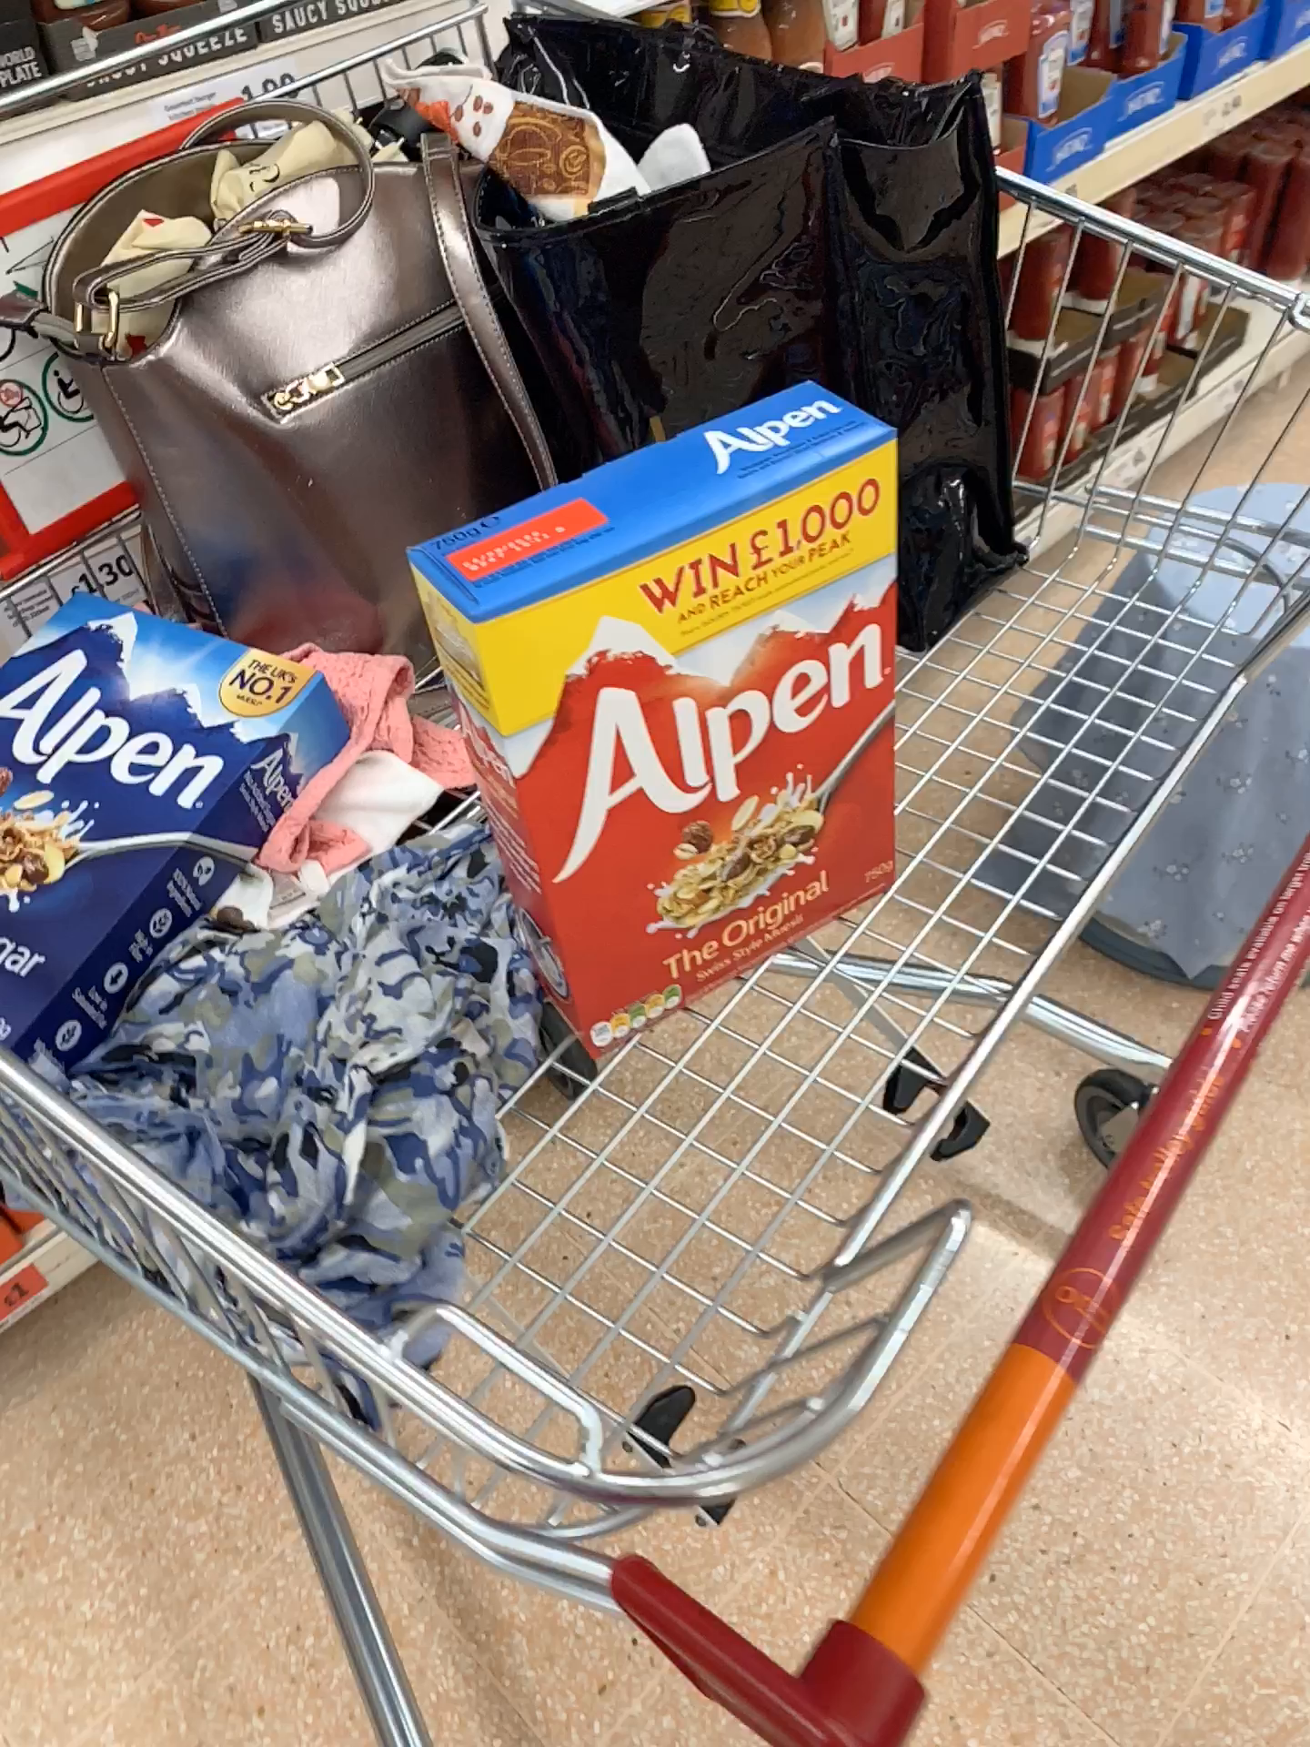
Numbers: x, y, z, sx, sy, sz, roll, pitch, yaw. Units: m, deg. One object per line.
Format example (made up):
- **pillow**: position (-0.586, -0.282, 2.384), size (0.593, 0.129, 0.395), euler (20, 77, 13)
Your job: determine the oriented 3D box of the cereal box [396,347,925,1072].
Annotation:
- **cereal box**: position (0.014, -0.057, 0.550), size (0.180, 0.248, 0.060), euler (-28, 49, -20)
